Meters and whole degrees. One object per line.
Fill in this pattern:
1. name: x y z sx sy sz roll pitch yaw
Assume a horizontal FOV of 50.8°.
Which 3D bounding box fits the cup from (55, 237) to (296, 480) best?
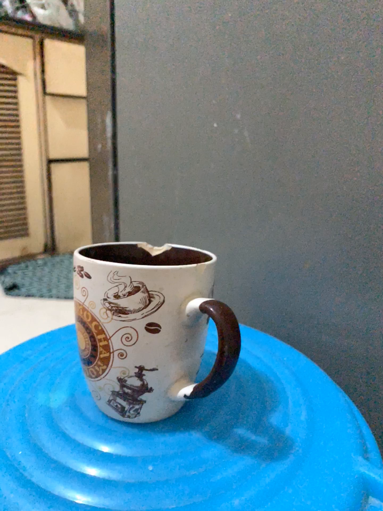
1. cup: -0.016 0.039 0.223 0.080 0.080 0.110 -4 13 -38
